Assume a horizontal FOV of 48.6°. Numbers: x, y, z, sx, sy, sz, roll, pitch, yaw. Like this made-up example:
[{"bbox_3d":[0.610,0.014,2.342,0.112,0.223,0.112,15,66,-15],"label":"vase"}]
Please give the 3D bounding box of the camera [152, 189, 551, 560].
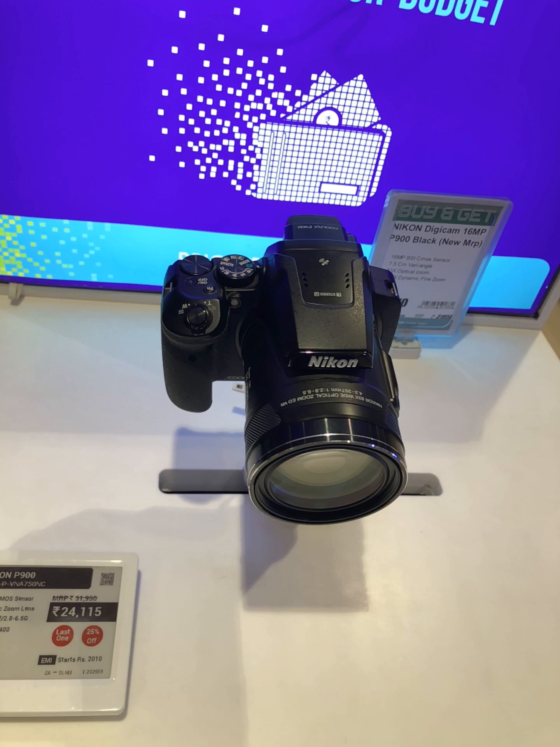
[{"bbox_3d":[0.015,-0.002,0.297,0.140,0.099,0.141,3,43,-11],"label":"camera"}]
